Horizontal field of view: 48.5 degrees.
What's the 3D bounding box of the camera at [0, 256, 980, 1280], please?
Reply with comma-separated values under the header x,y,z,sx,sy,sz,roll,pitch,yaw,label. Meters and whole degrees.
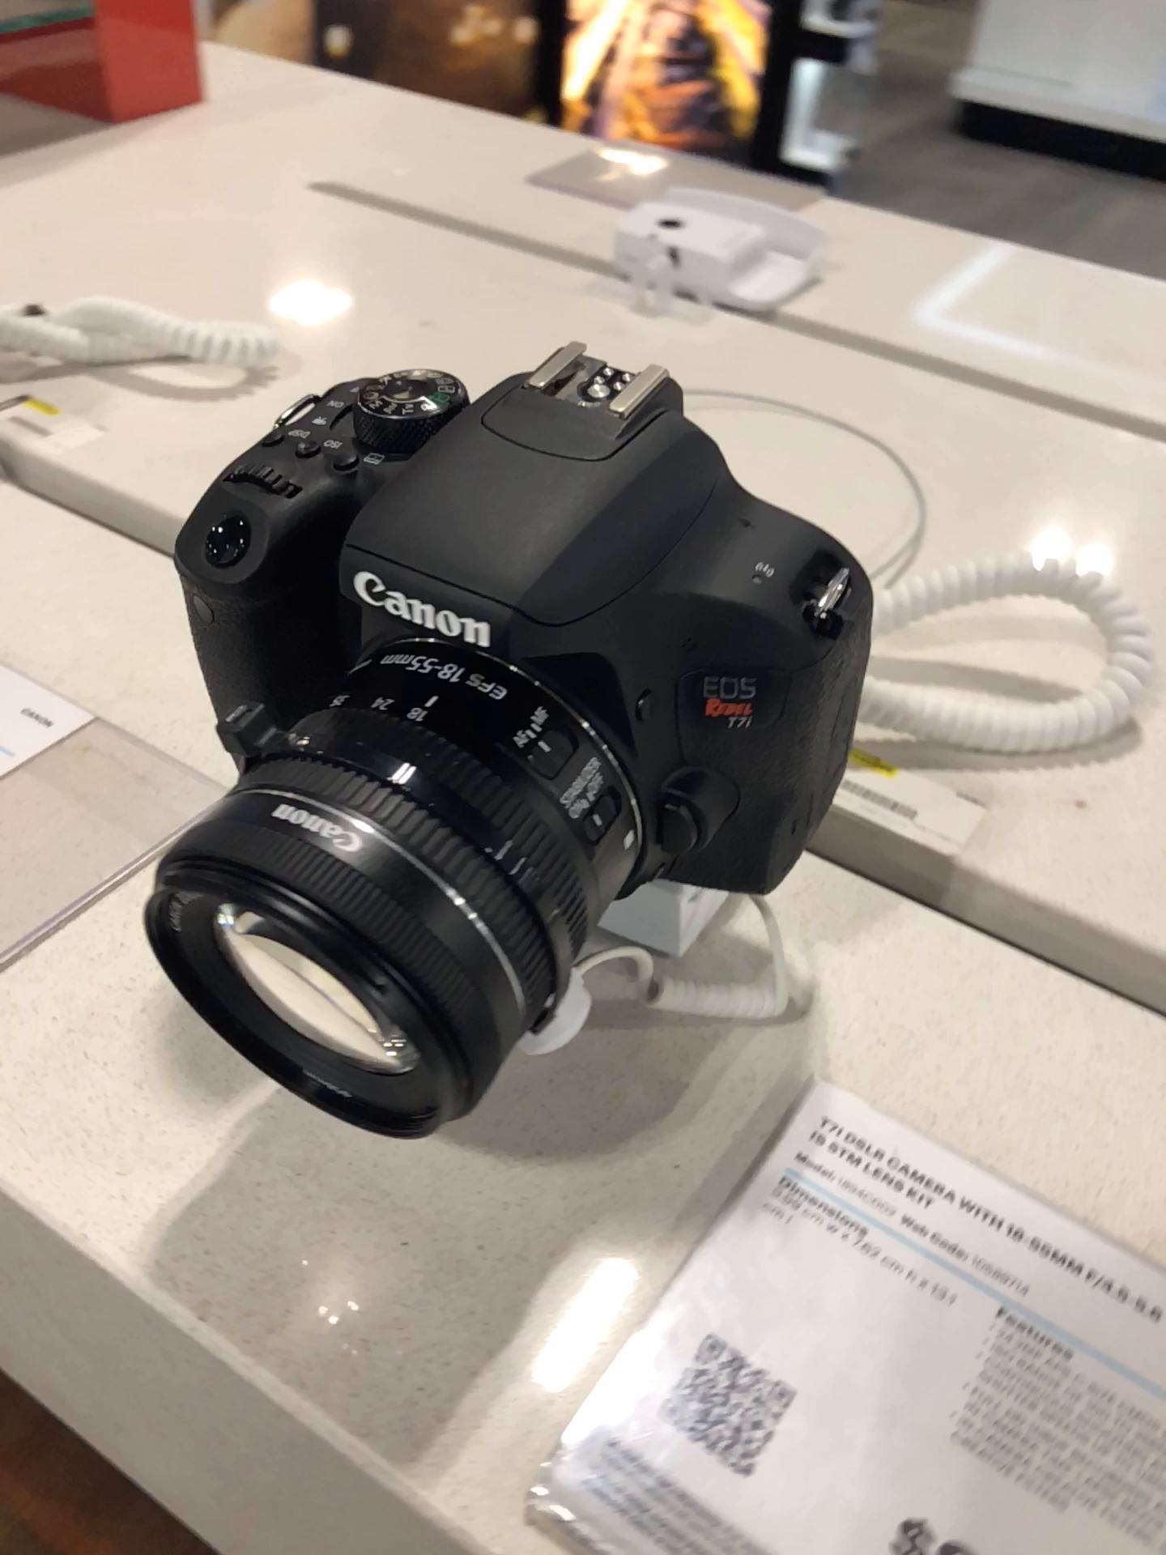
x,y,z,sx,sy,sz,roll,pitch,yaw,label
-0.023,-0.016,0.249,0.140,0.099,0.131,22,44,20,camera
